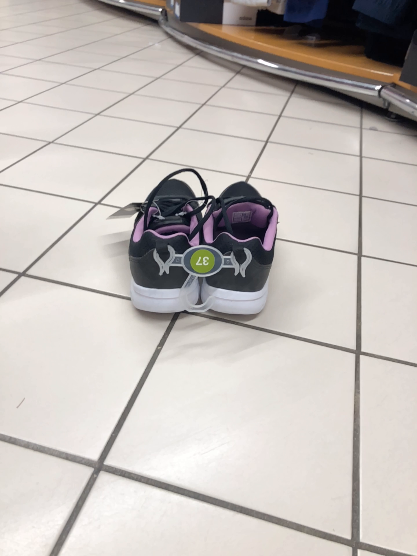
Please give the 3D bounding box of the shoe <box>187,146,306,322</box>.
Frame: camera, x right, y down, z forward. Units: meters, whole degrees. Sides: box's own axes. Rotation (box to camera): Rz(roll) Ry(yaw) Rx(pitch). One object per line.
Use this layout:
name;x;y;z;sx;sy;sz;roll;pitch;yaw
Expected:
shoe;0.038;-0.069;0.563;0.110;0.089;0.262;3;36;-1

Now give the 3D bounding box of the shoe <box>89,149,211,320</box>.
shoe;-0.054;-0.069;0.565;0.110;0.089;0.262;1;36;1
